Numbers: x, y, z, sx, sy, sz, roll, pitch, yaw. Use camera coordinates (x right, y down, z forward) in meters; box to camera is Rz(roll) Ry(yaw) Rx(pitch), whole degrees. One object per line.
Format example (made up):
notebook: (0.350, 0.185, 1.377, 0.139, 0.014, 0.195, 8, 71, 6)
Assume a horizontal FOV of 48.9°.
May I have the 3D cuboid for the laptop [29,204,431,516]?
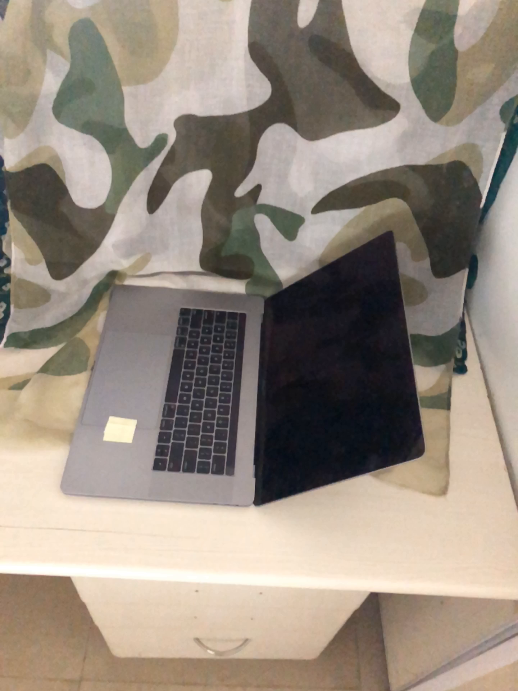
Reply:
laptop: (-0.029, 0.008, 0.742, 0.402, 0.165, 0.342, 4, 51, -1)
